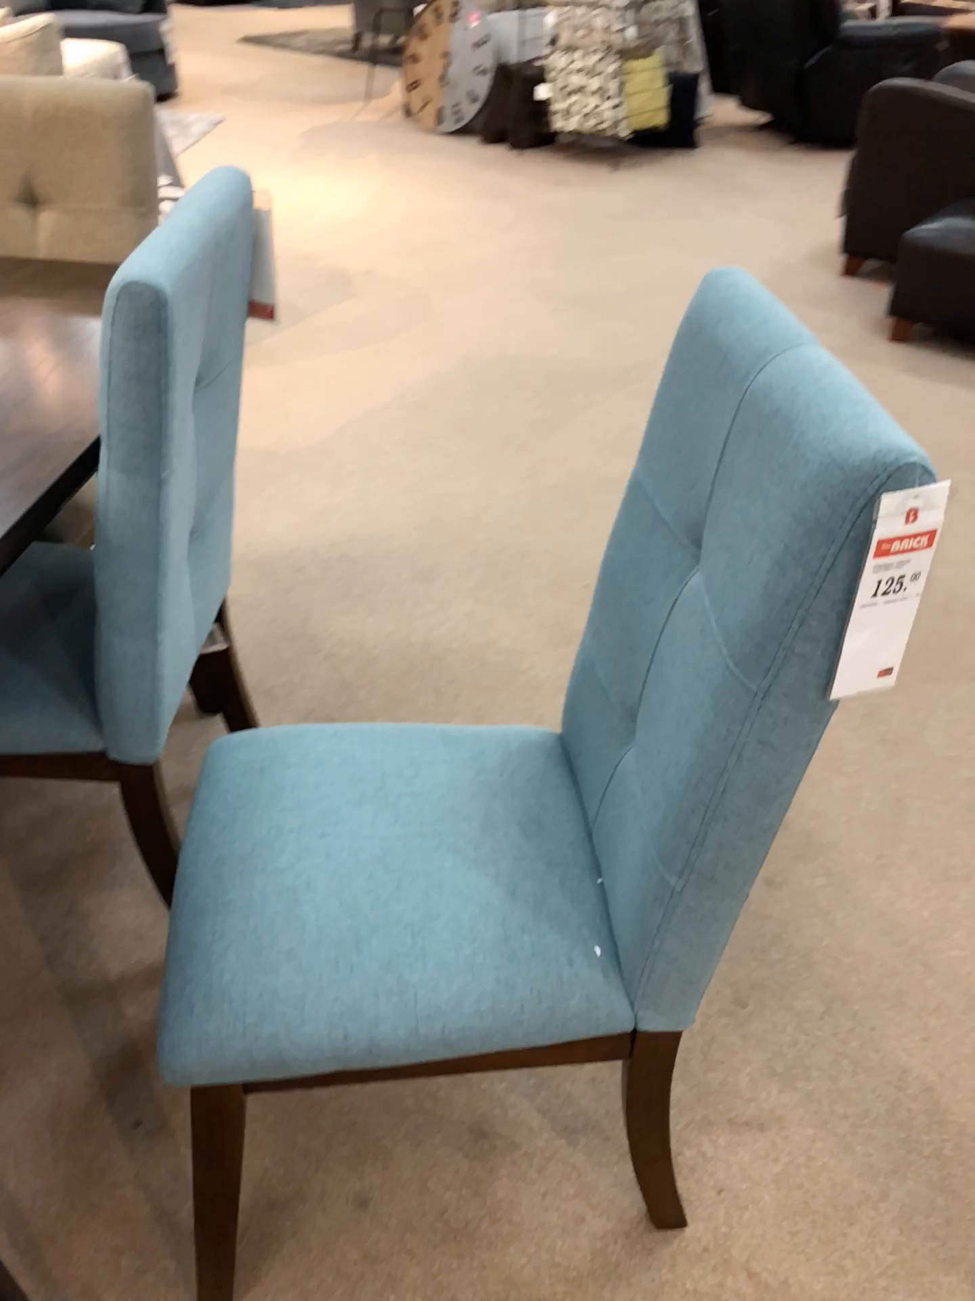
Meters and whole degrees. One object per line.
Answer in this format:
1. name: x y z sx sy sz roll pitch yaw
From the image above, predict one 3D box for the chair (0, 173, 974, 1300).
1. chair: -0.063 0.148 1.022 0.620 0.993 0.544 -1 36 -7
